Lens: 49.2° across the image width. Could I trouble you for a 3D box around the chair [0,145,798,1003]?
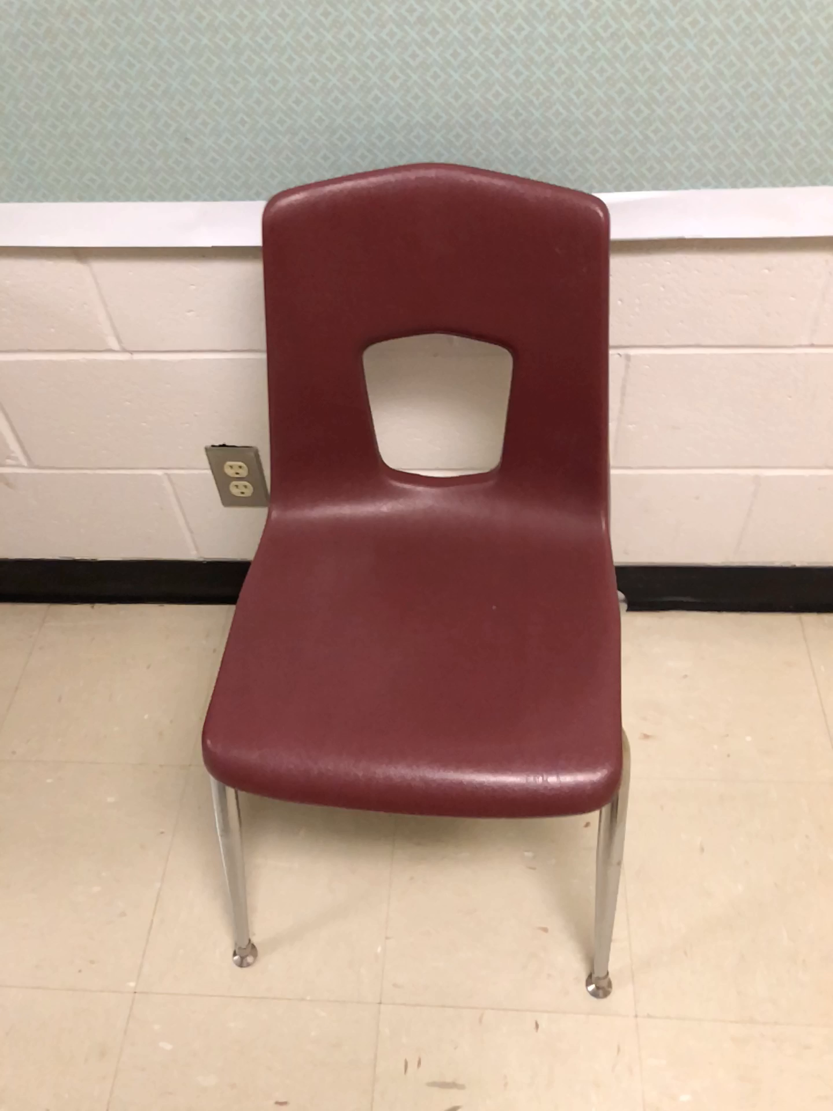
[{"bbox_3d":[-0.004,0.054,0.955,0.504,0.708,0.556,2,50,6],"label":"chair"}]
